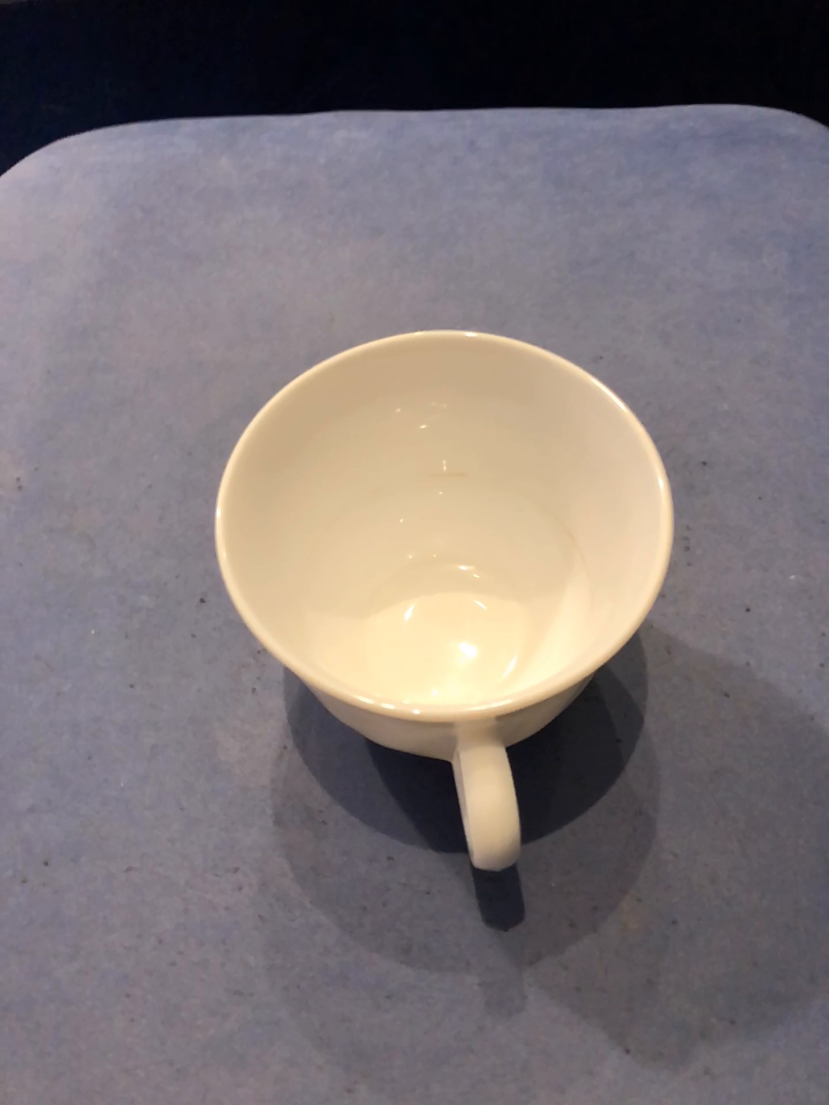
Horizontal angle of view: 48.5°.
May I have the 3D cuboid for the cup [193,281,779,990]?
[{"bbox_3d":[0.007,0.013,0.178,0.080,0.050,0.121,-5,59,1],"label":"cup"}]
